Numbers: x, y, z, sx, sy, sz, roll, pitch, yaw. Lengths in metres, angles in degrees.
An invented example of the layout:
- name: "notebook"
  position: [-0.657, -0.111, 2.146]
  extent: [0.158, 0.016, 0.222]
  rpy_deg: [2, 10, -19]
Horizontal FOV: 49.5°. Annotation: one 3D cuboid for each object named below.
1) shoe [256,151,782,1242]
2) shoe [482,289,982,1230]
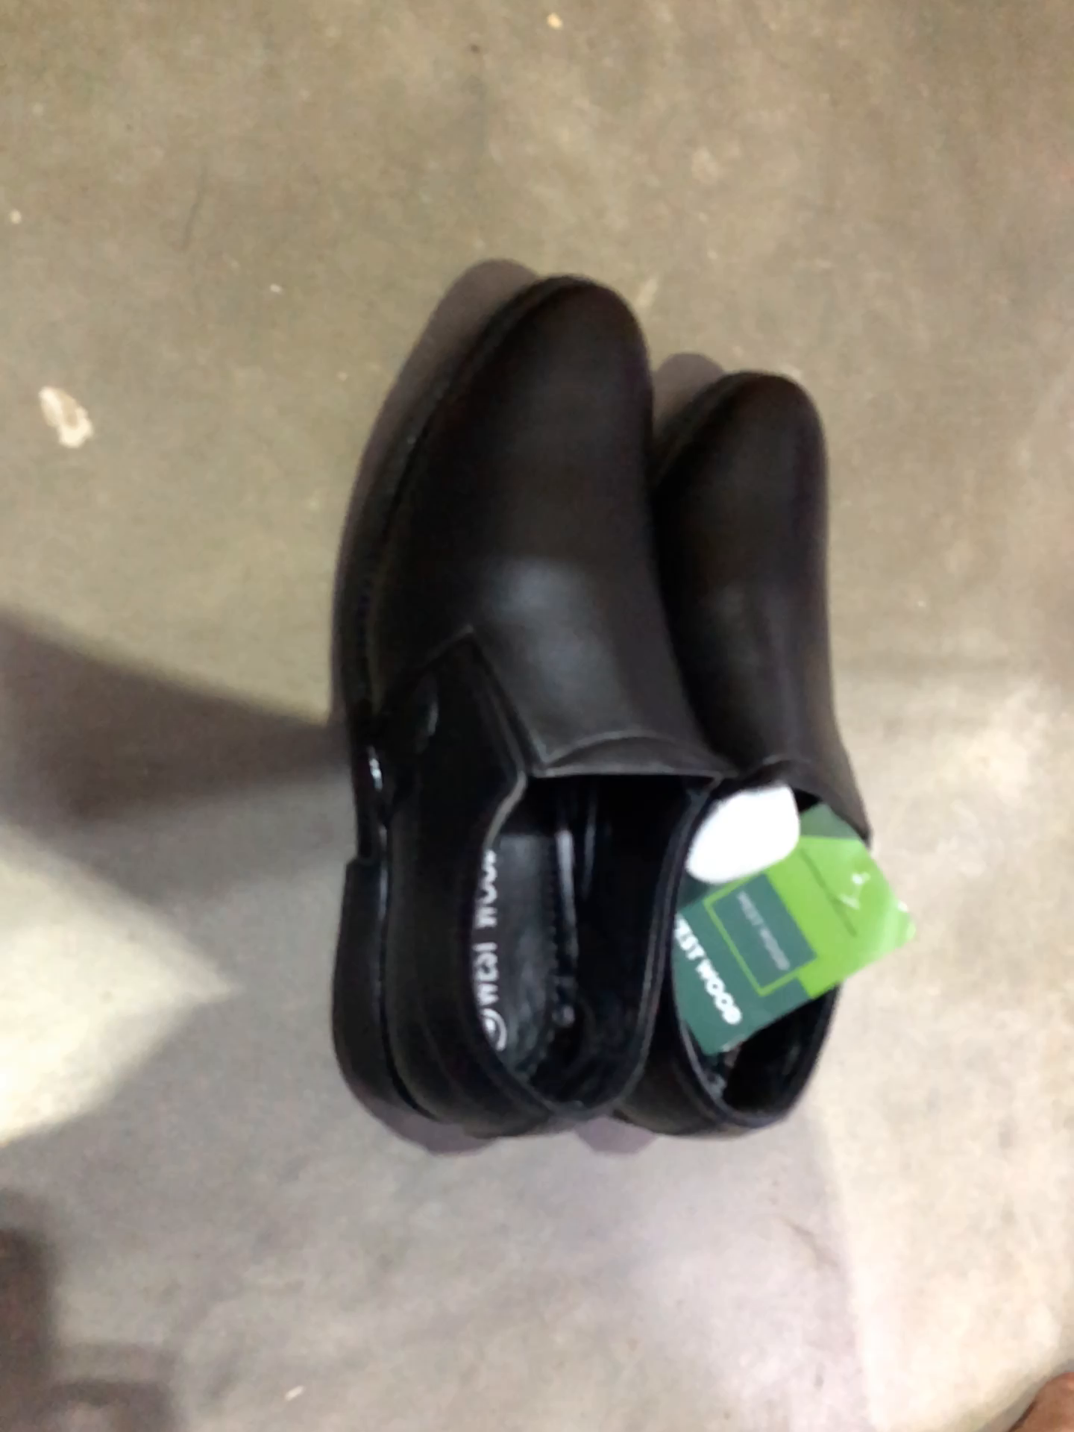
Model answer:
- name: "shoe"
  position: [-0.007, -0.004, 0.385]
  extent: [0.100, 0.100, 0.300]
  rpy_deg: [10, 84, -31]
- name: "shoe"
  position: [0.073, 0.017, 0.428]
  extent: [0.100, 0.090, 0.300]
  rpy_deg: [15, 82, -30]
